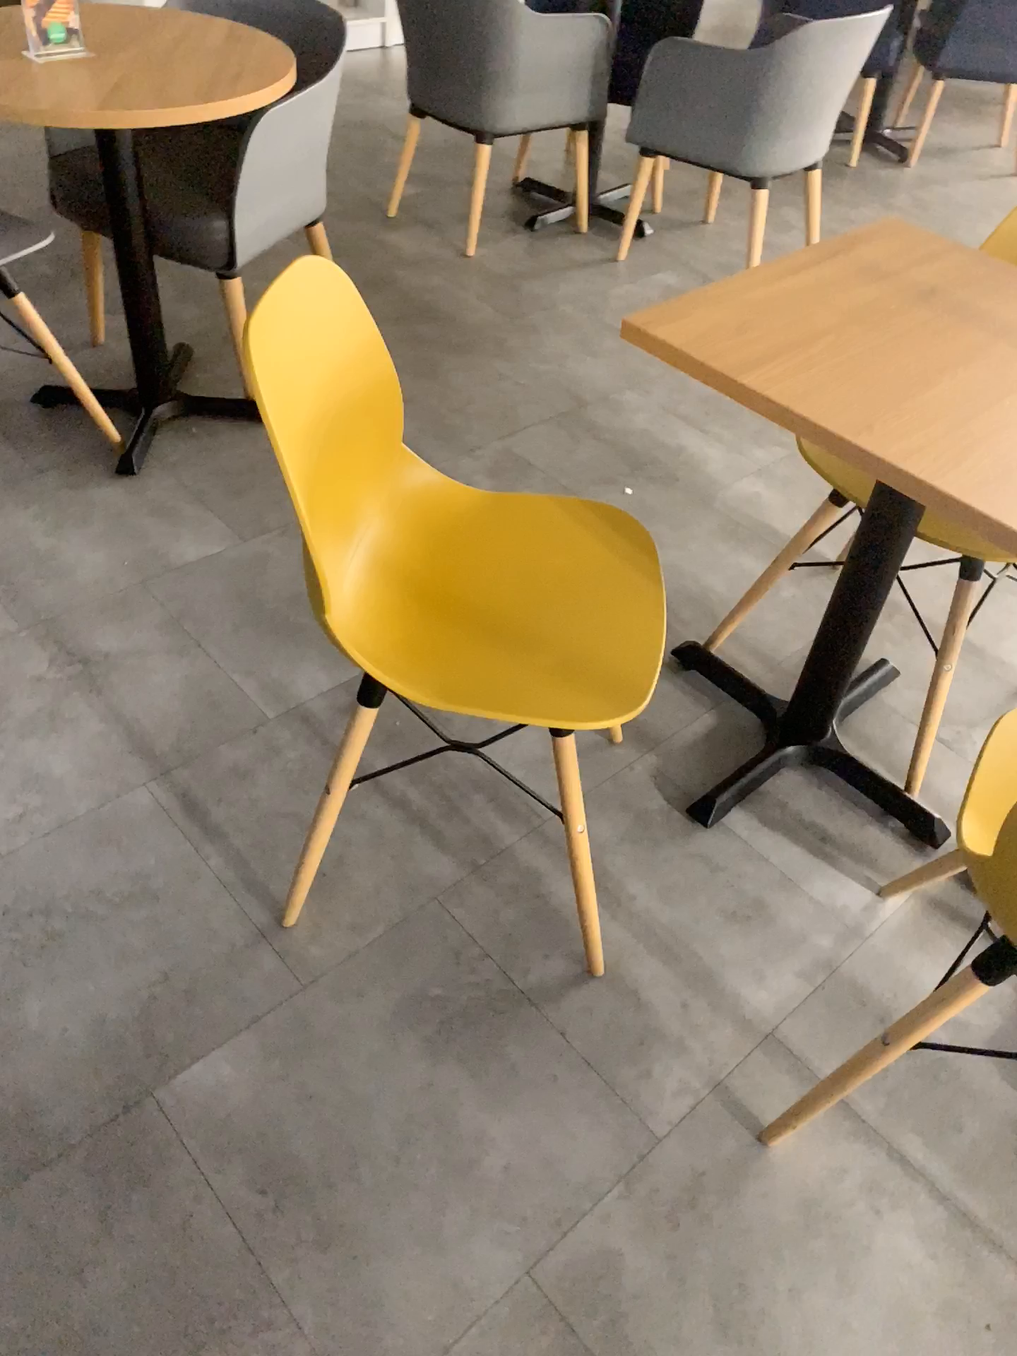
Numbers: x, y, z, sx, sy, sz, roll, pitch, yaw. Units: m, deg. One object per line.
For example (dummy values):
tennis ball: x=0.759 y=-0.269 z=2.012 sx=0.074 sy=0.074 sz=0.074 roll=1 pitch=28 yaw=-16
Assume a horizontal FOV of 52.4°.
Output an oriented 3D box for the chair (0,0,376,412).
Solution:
chair: x=-0.676 y=-1.139 z=2.376 sx=0.547 sy=0.756 sz=0.526 roll=20 pitch=45 yaw=14

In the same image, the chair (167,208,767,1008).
chair: x=-0.035 y=-0.061 z=1.296 sx=0.492 sy=0.786 sz=0.522 roll=8 pitch=43 yaw=2

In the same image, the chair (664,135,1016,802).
chair: x=0.663 y=-0.327 z=1.630 sx=0.494 sy=0.776 sz=0.499 roll=-31 pitch=55 yaw=-33

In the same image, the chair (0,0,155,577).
chair: x=-1.054 y=-0.706 z=1.807 sx=0.498 sy=0.776 sz=0.526 roll=25 pitch=46 yaw=19

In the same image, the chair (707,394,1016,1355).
chair: x=0.613 y=0.245 z=1.035 sx=0.498 sy=0.776 sz=0.495 roll=29 pitch=48 yaw=22
